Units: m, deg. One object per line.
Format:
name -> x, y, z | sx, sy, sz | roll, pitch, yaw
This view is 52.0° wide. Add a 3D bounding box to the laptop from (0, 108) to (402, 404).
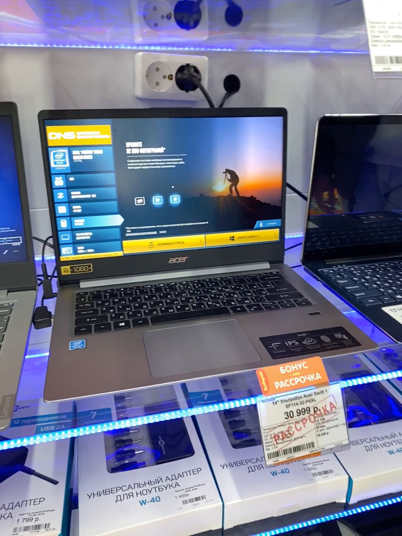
laptop -> -0.004, -0.053, 0.445 | 0.318, 0.206, 0.258 | -6, 25, -14
